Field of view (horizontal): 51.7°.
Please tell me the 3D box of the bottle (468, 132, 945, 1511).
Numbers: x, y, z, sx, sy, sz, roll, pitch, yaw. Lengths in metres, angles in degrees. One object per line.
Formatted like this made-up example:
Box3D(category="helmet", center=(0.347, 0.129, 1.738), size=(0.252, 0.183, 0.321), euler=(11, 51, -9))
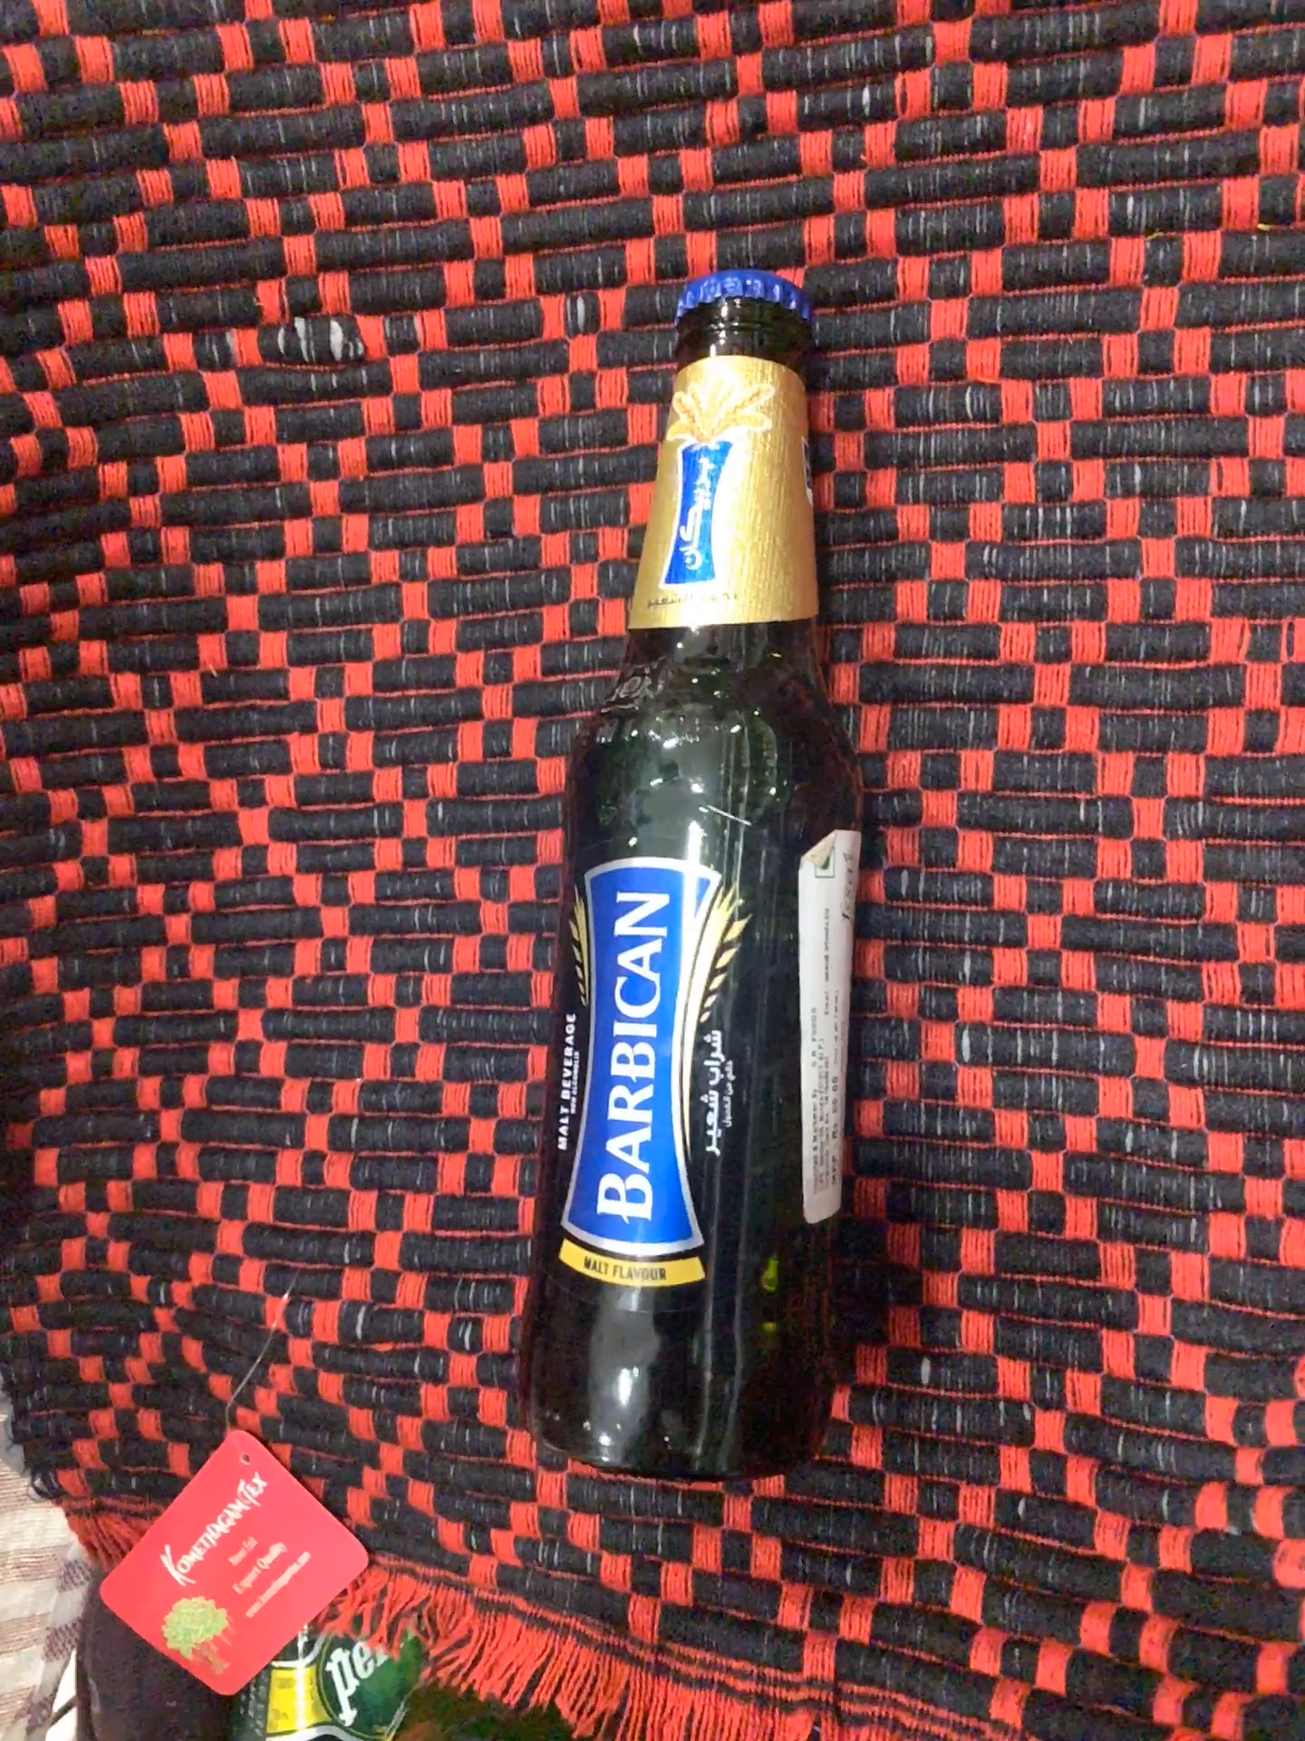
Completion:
Box3D(category="bottle", center=(0.016, -0.011, 0.239), size=(0.060, 0.060, 0.210), euler=(2, 83, 15))
